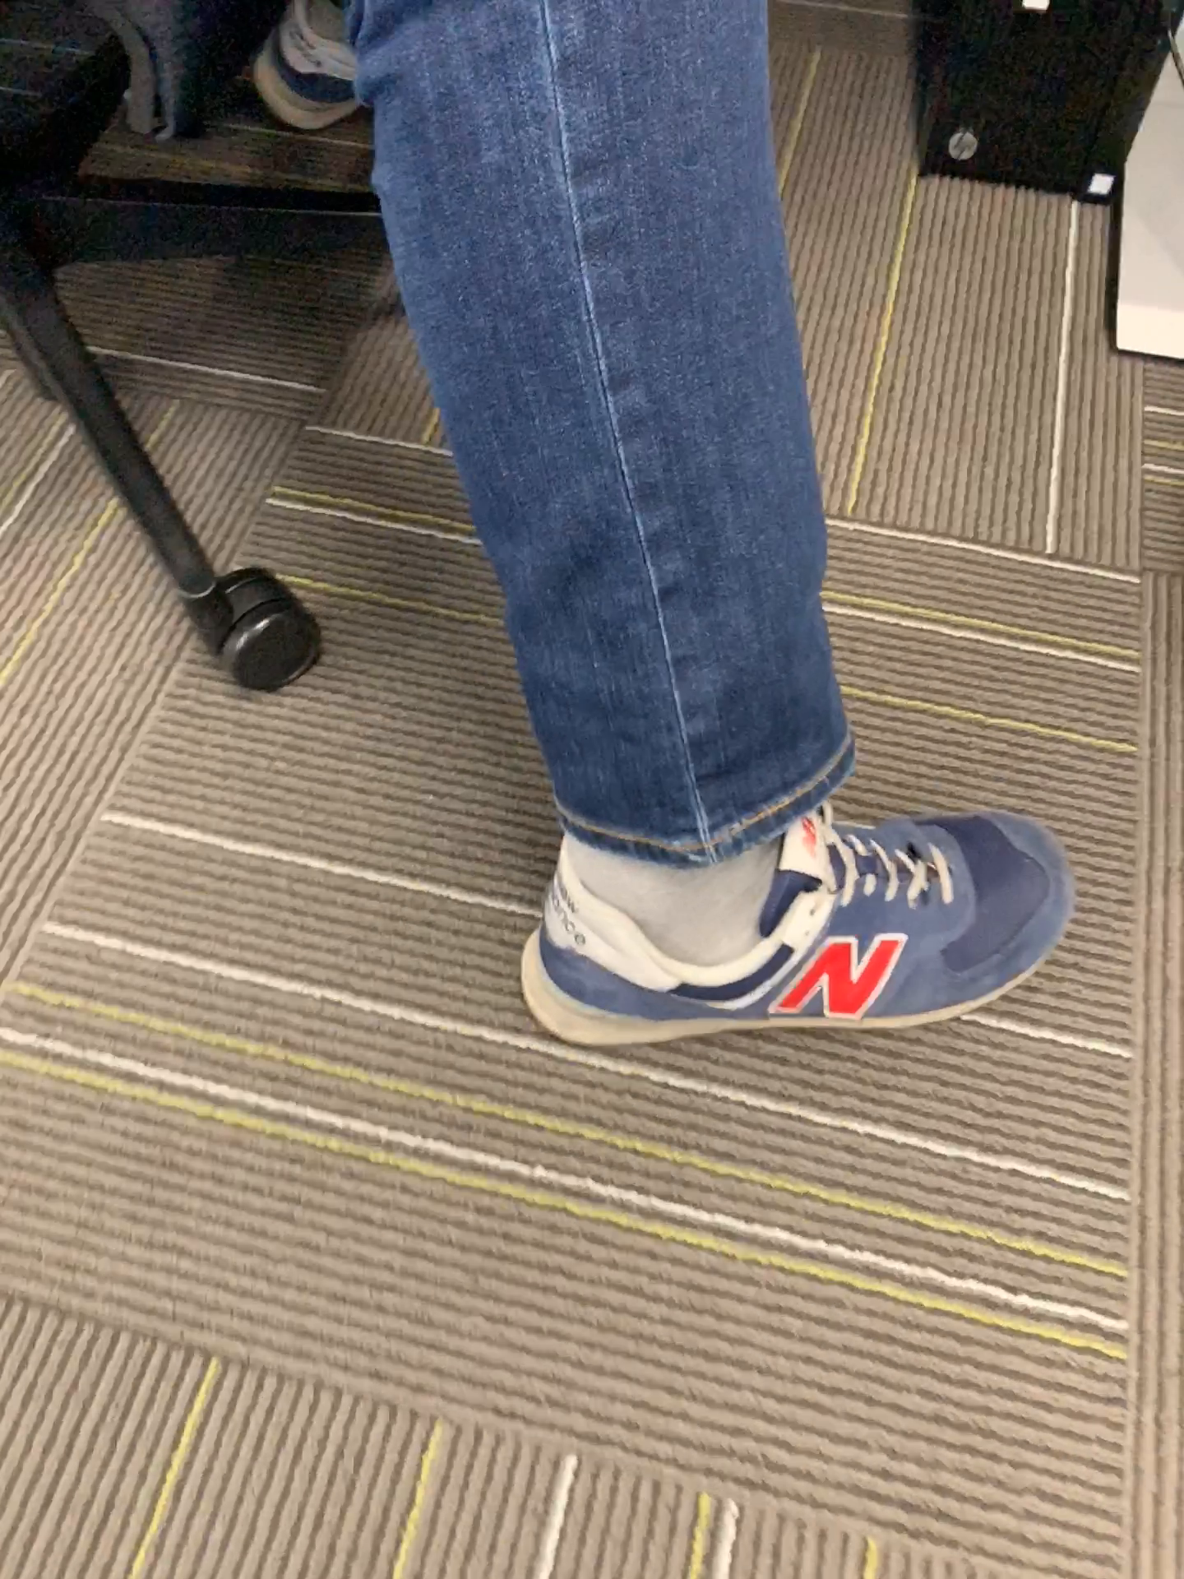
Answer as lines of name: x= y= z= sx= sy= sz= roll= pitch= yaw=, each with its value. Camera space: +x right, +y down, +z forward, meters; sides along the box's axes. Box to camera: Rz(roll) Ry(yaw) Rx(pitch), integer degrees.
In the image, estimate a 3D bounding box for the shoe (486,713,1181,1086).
shoe: x=0.108 y=0.060 z=0.631 sx=0.307 sy=0.139 sz=0.108 roll=-6 pitch=59 yaw=-4
